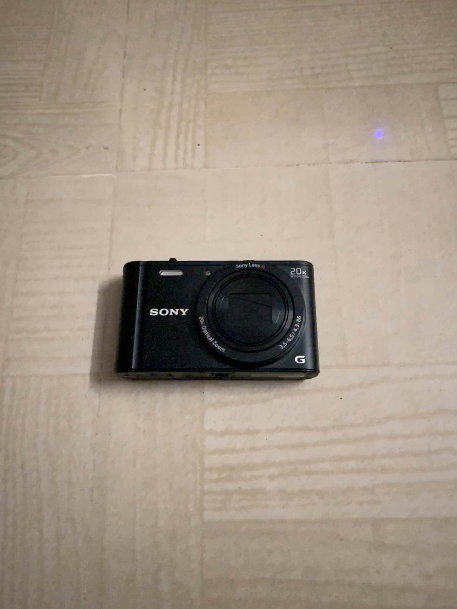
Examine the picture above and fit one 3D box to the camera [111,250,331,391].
[{"bbox_3d":[-0.003,0.008,0.220,0.092,0.025,0.060,-1,72,3],"label":"camera"}]
